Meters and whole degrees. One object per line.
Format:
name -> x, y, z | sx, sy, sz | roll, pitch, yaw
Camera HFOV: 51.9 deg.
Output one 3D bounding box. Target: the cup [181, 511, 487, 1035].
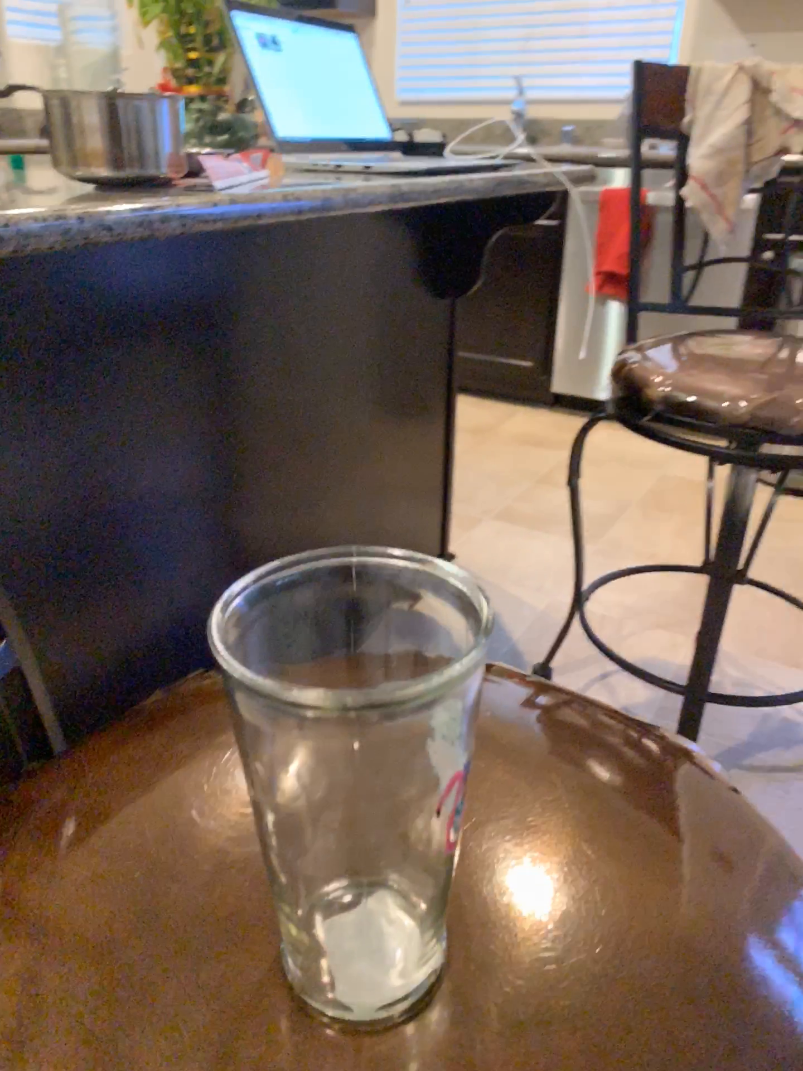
cup -> -0.015, 0.079, 0.282 | 0.080, 0.149, 0.081 | 1, 25, 0
